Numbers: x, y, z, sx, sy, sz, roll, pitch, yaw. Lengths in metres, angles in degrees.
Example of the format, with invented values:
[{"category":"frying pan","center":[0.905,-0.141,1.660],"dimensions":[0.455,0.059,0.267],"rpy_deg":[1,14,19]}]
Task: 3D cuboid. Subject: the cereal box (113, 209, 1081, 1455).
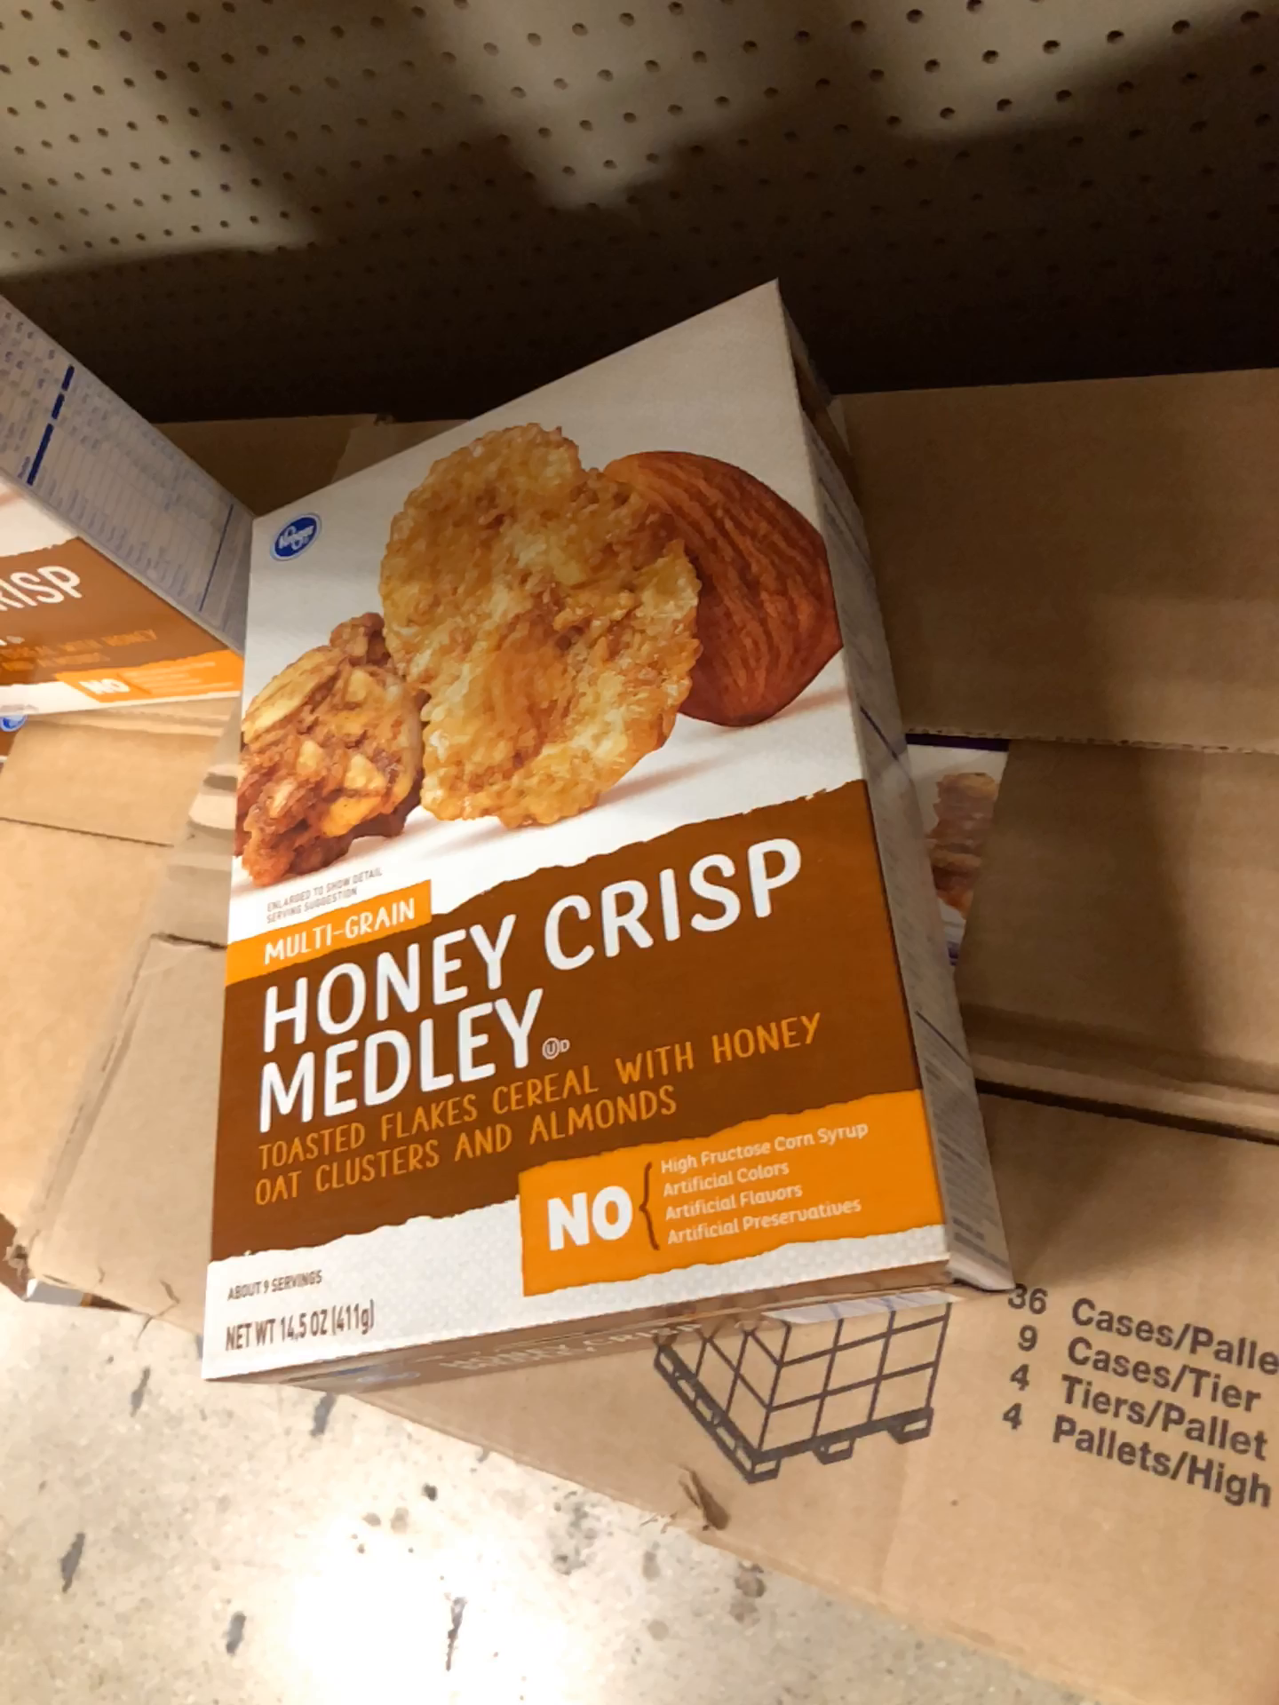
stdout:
[{"category":"cereal box","center":[-0.025,-0.005,0.360],"dimensions":[0.201,0.060,0.270],"rpy_deg":[-17,61,22]}]
